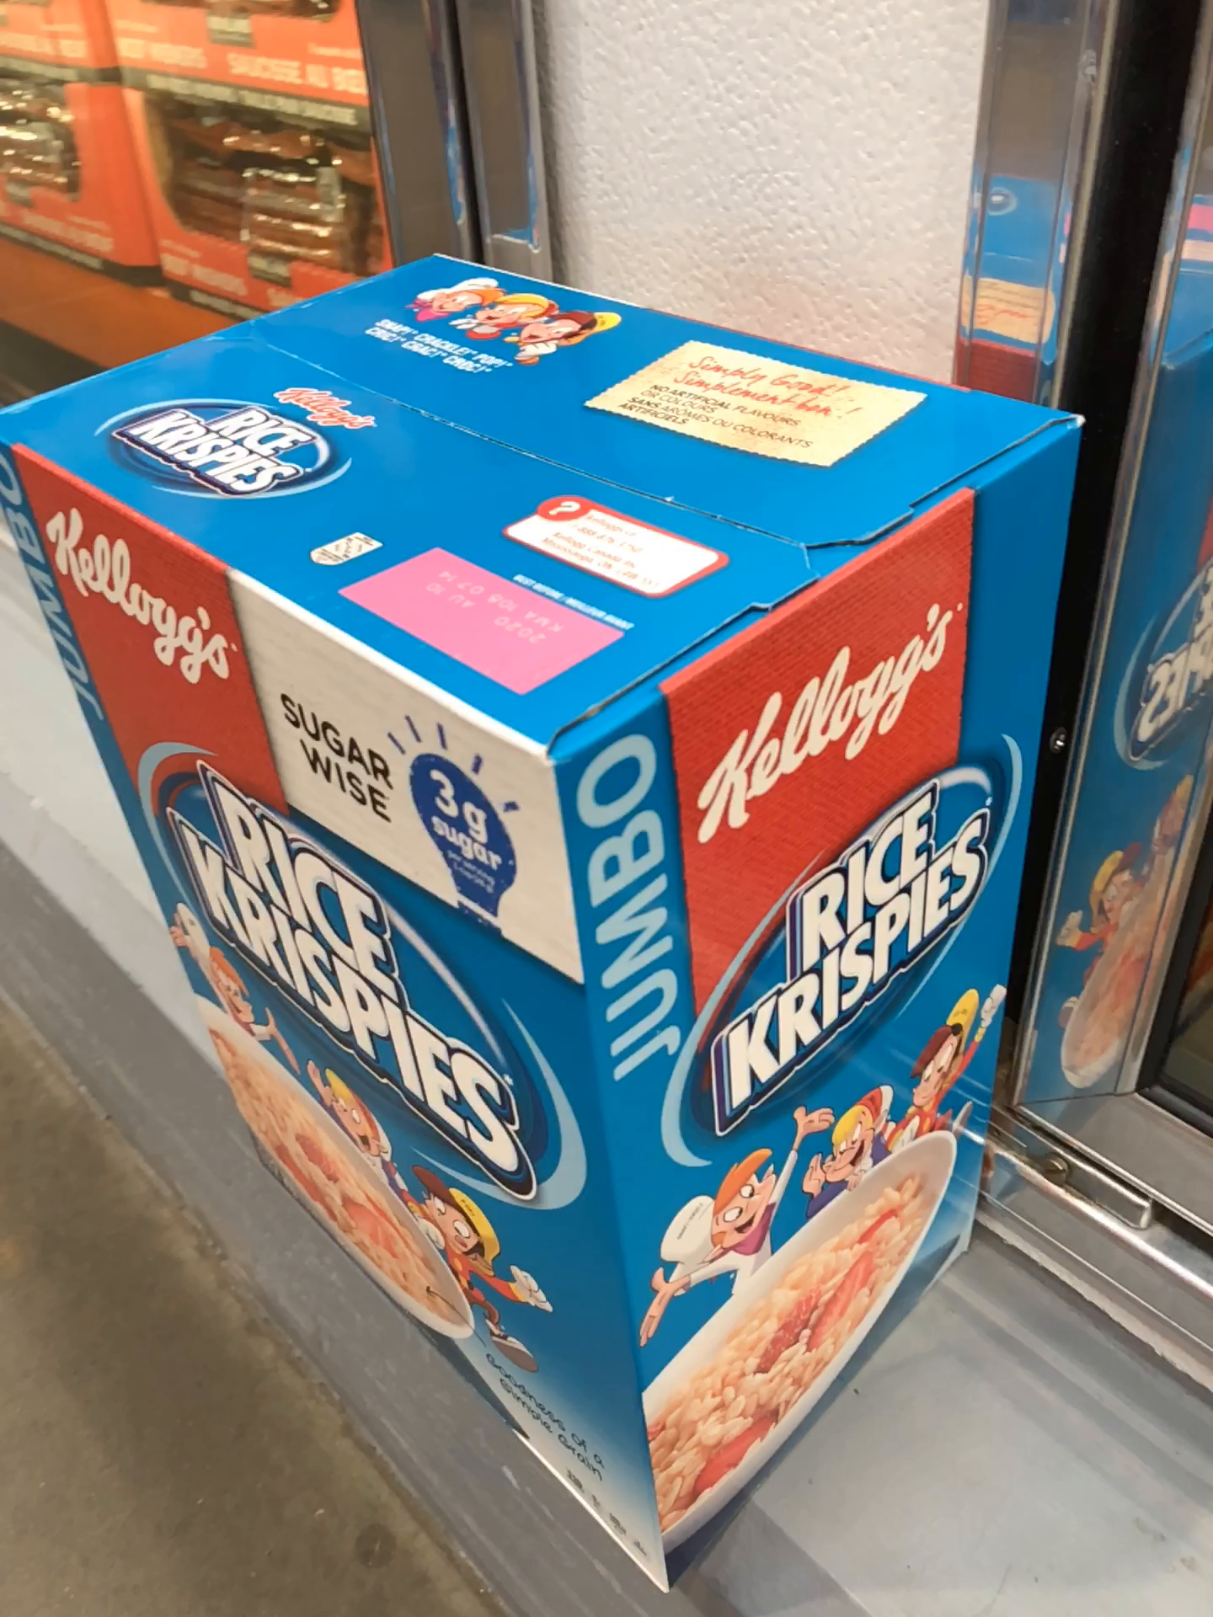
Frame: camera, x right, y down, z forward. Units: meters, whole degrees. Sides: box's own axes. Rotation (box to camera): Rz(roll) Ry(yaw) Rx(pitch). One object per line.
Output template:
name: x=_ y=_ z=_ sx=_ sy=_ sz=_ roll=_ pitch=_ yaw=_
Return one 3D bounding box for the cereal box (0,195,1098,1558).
cereal box: x=-0.019 y=0.016 z=0.417 sx=0.160 sy=0.319 sz=0.241 roll=-35 pitch=47 yaw=-29
